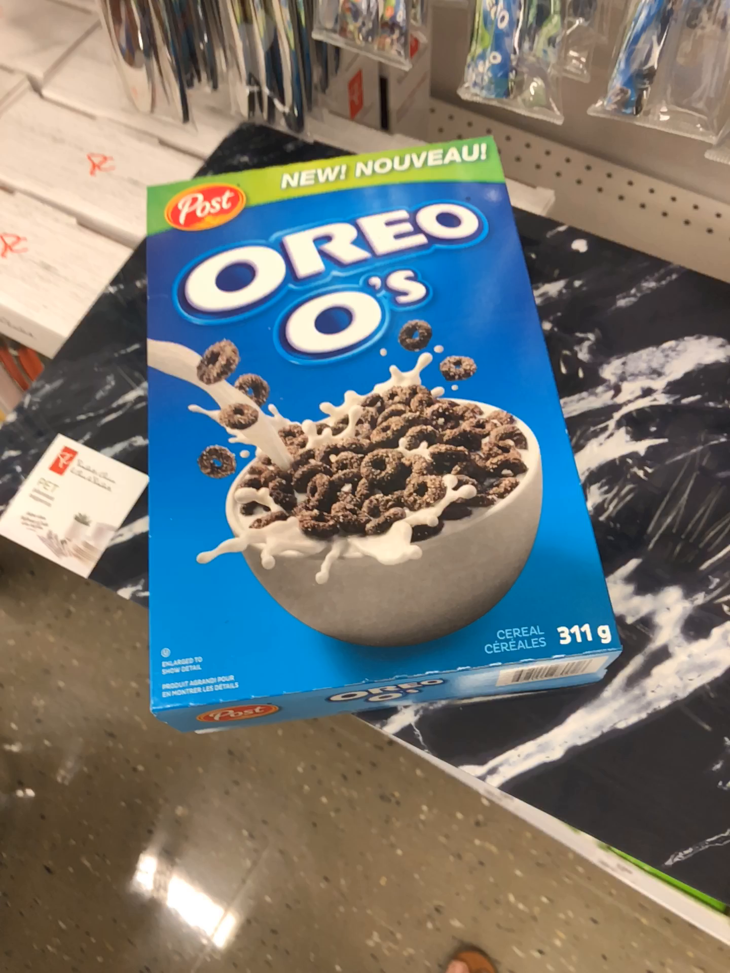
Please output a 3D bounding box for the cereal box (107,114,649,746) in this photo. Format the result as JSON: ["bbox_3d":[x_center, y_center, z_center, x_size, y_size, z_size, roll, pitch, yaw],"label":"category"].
[{"bbox_3d":[-0.010,-0.042,0.411,0.210,0.070,0.300,-7,64,0],"label":"cereal box"}]
